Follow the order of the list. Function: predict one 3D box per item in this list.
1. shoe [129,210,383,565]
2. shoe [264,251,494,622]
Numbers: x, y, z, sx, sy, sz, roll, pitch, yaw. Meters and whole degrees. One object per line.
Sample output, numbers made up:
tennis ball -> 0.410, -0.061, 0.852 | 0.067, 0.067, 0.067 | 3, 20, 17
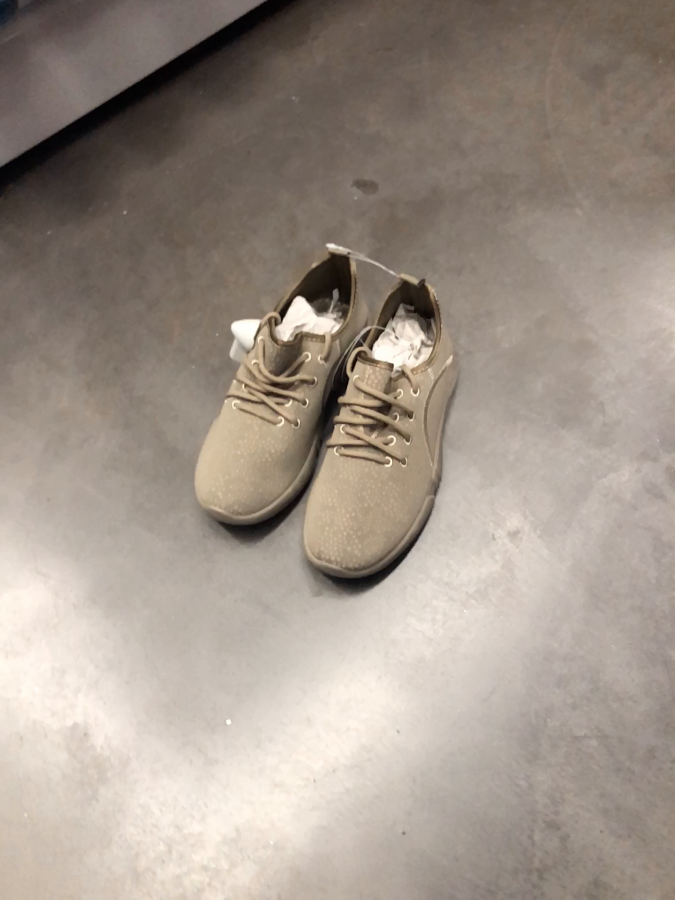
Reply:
shoe -> -0.048, -0.052, 0.574 | 0.090, 0.110, 0.241 | 18, 62, 12
shoe -> 0.038, -0.015, 0.558 | 0.100, 0.110, 0.241 | 13, 61, 9
